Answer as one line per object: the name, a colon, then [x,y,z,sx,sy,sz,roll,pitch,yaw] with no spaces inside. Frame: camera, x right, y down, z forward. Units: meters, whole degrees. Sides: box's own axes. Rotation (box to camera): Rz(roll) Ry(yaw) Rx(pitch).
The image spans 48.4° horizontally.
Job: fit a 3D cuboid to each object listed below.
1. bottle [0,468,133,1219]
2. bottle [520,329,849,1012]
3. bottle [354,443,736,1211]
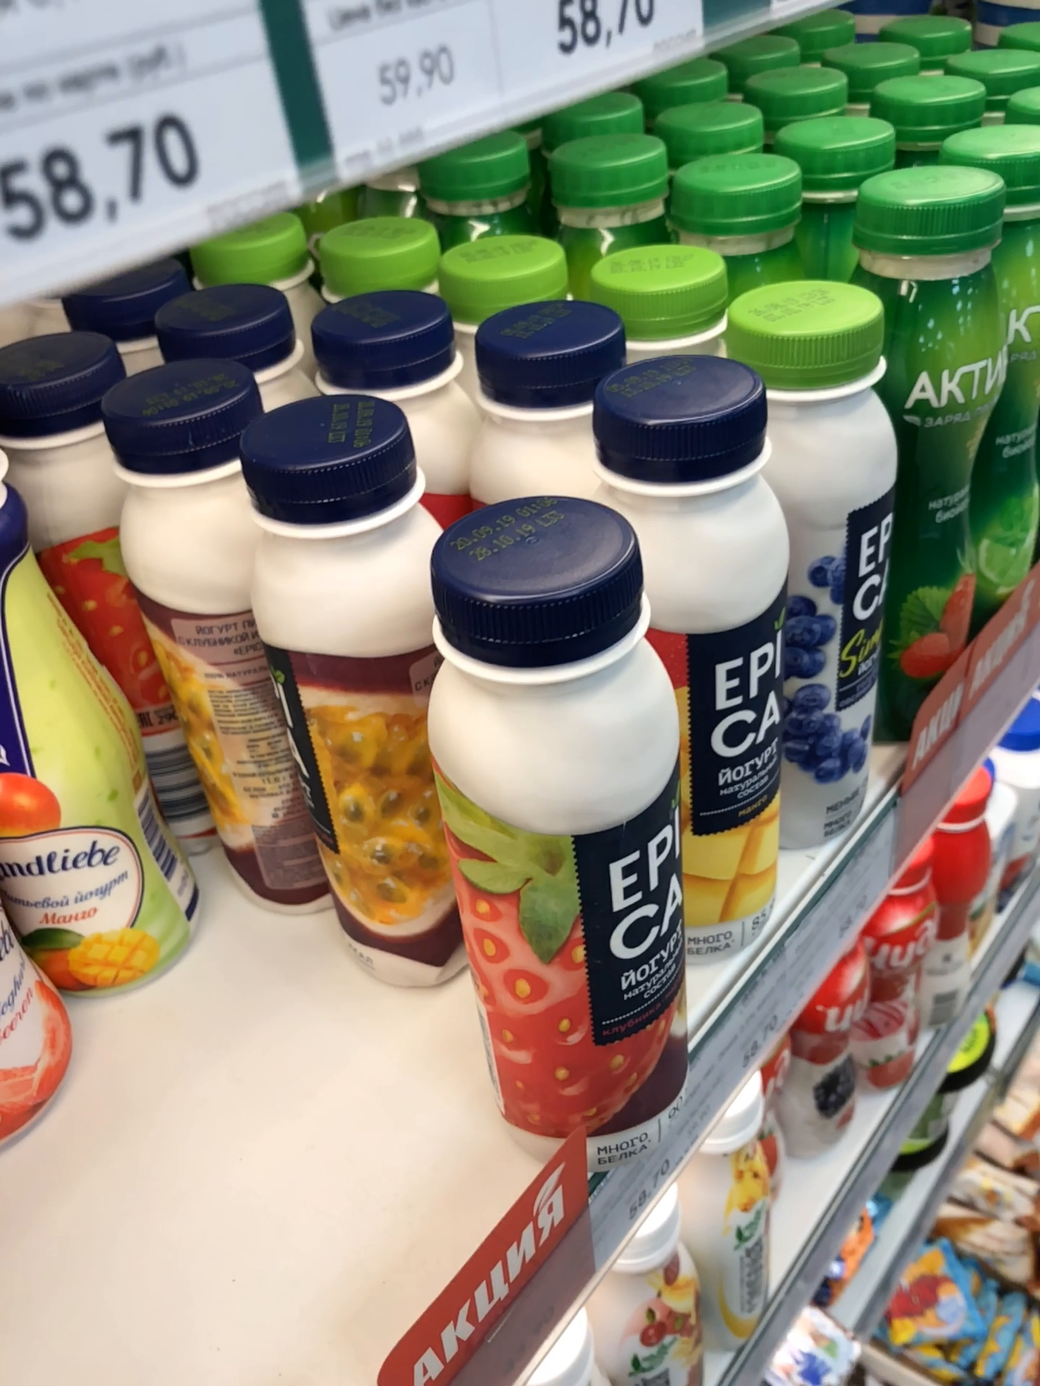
bottle: [-0.156,0.045,0.276,0.051,0.182,0.053,-4,38,3]
bottle: [0.043,0.002,0.314,0.053,0.177,0.051,-4,38,3]
bottle: [0.012,0.040,0.268,0.050,0.179,0.050,-4,38,3]
